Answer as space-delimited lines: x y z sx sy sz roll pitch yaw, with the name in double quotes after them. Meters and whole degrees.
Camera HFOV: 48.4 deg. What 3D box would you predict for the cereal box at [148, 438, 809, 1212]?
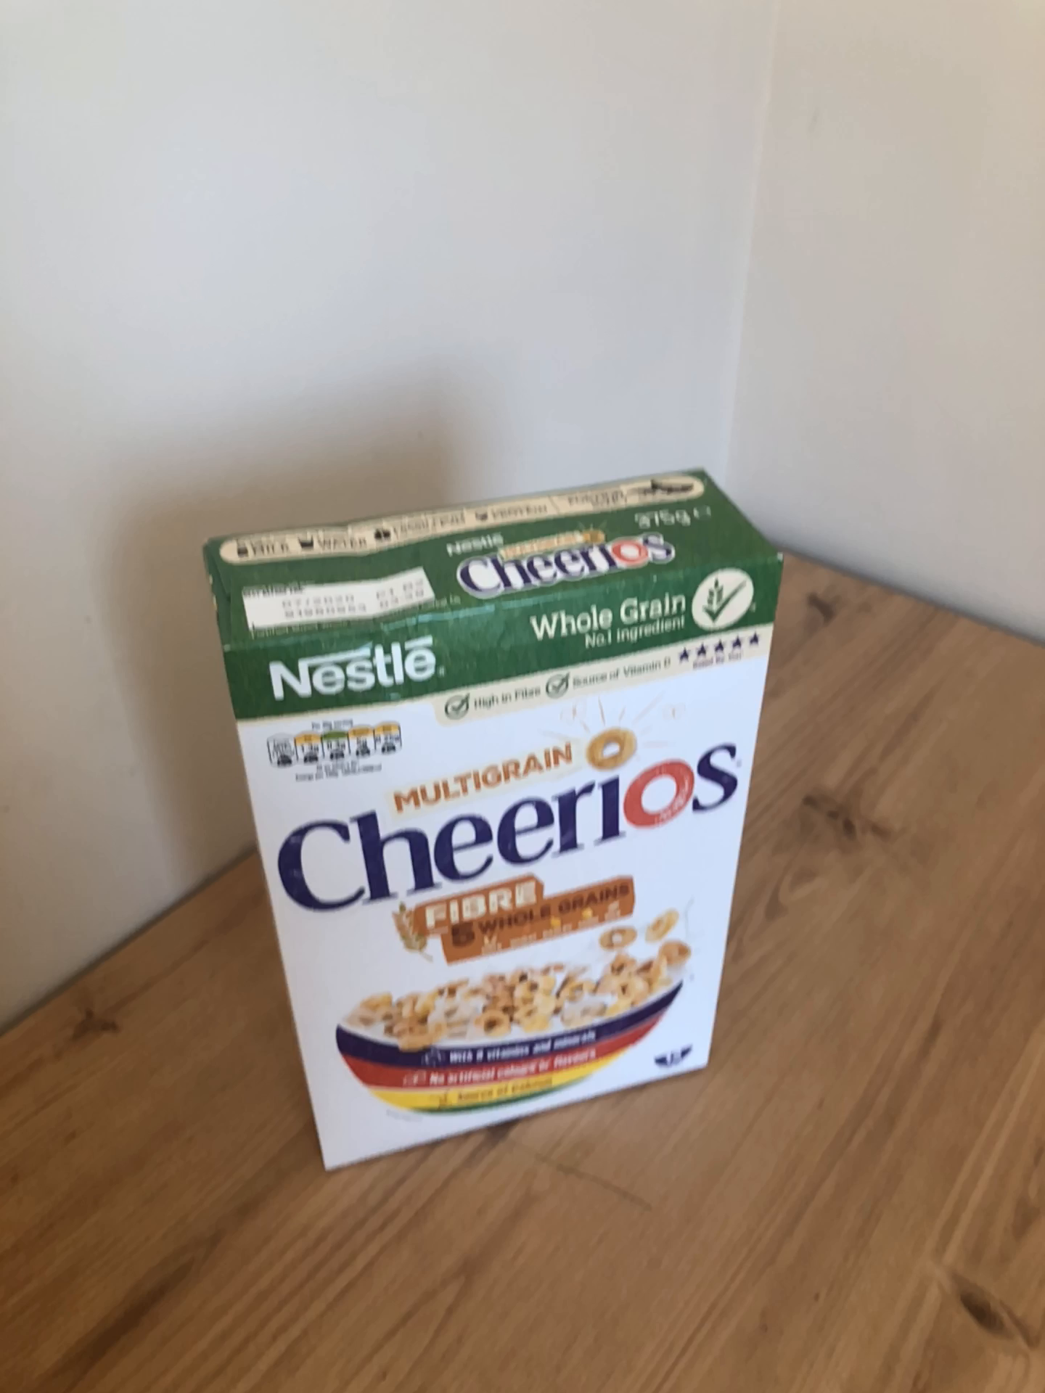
-0.016 0.066 0.486 0.210 0.308 0.080 -11 38 -14 "cereal box"
